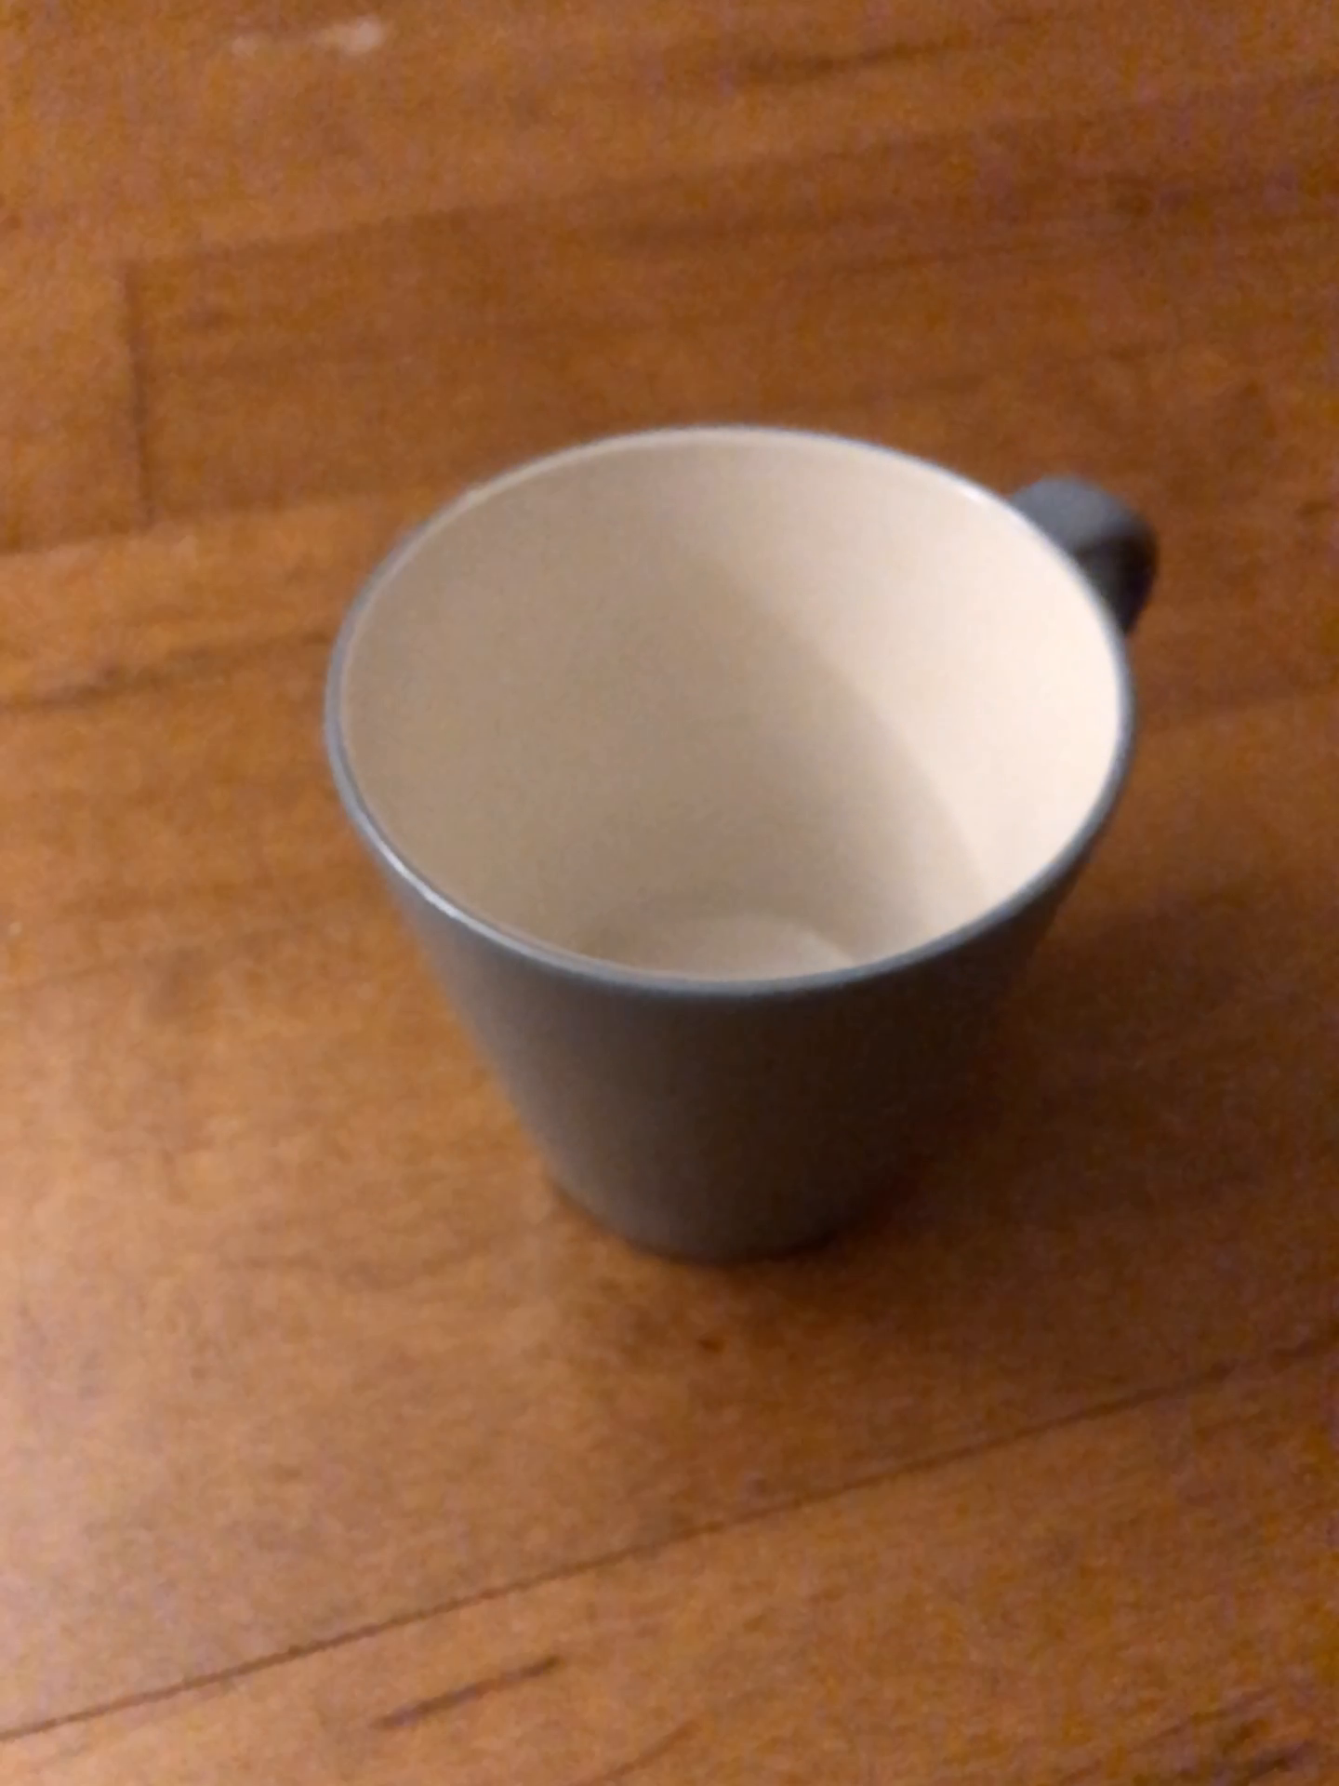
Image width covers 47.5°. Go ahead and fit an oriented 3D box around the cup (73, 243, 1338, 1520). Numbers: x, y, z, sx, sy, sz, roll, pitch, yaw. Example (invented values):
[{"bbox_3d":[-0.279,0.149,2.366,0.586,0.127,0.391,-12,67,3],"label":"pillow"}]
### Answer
[{"bbox_3d":[0.013,-0.007,0.231,0.140,0.099,0.100,-35,58,-23],"label":"cup"}]
